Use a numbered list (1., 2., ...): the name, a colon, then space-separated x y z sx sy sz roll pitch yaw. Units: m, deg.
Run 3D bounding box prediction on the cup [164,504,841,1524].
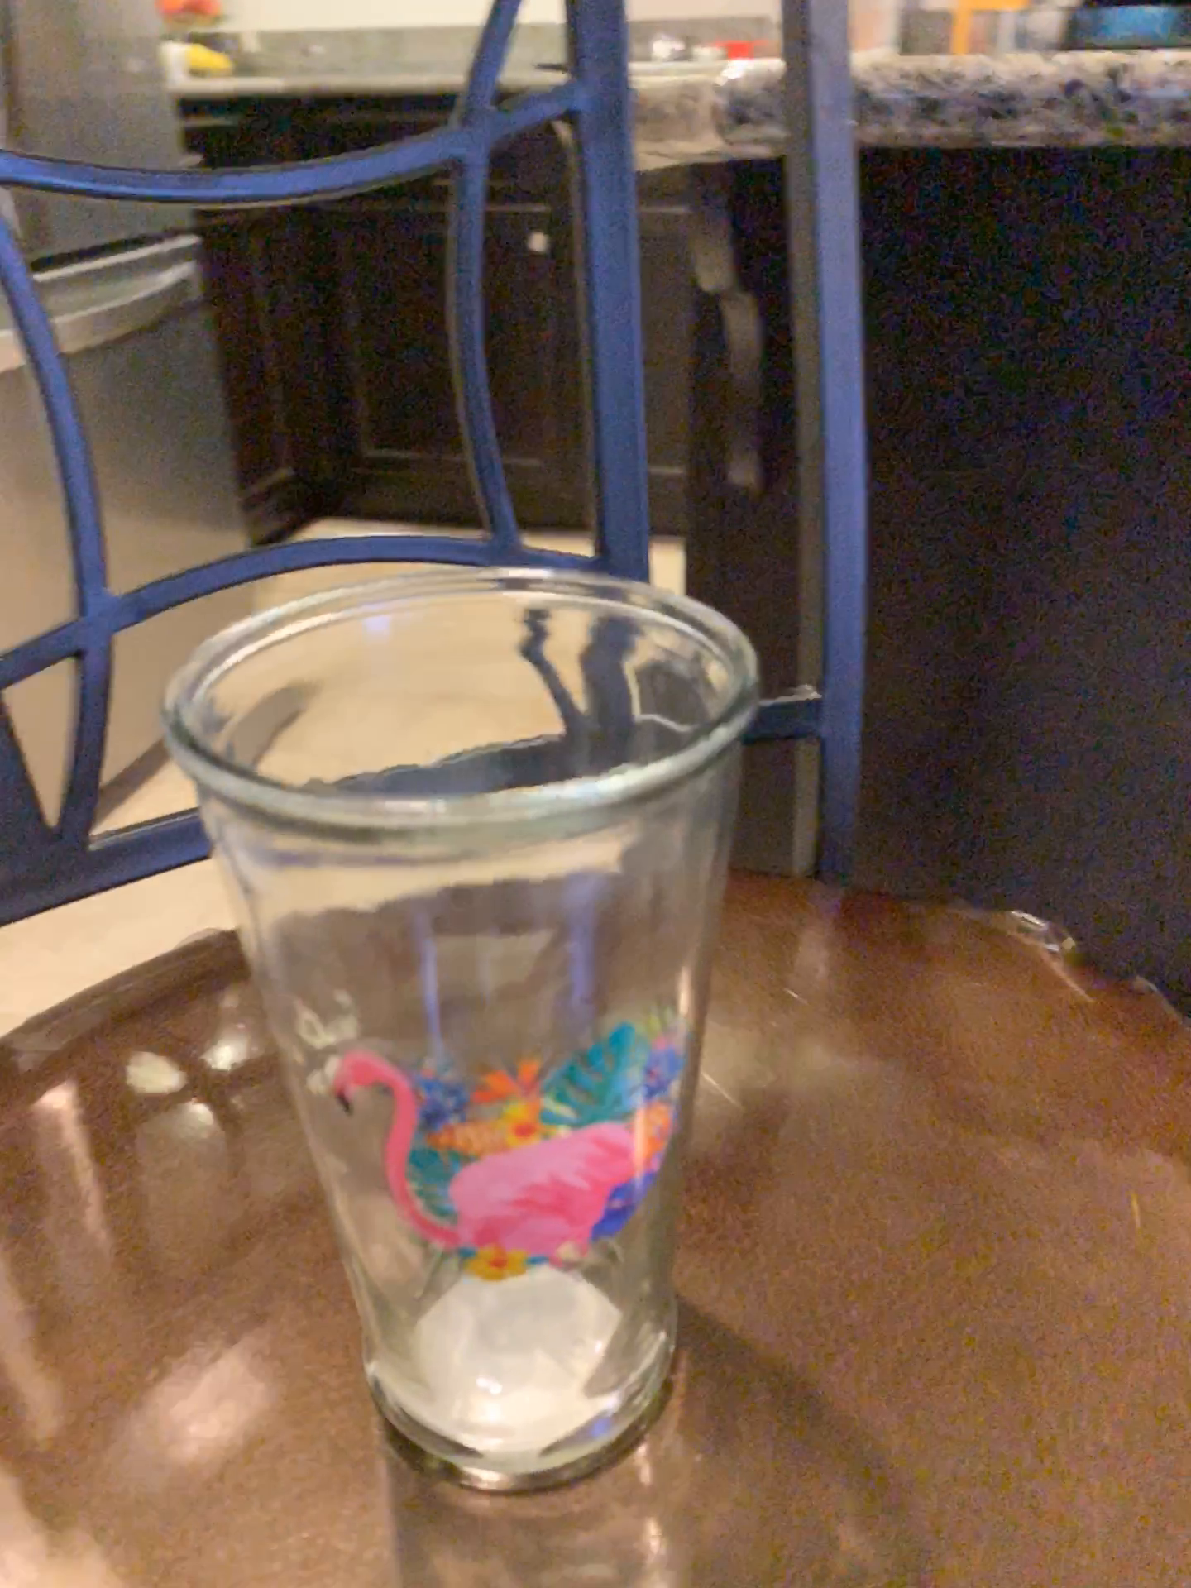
1. cup: -0.016 0.037 0.215 0.080 0.149 0.081 -1 30 0
